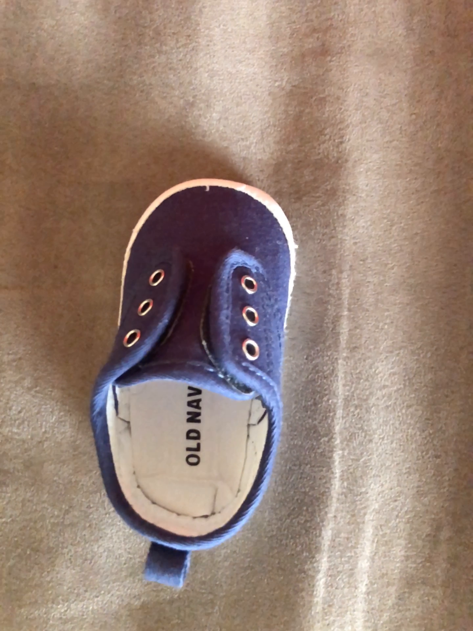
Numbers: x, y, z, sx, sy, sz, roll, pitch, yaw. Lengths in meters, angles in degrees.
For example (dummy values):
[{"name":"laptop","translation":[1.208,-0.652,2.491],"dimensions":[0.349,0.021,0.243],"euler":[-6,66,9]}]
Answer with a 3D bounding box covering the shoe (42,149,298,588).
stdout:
[{"name":"shoe","translation":[-0.016,0.013,0.169],"dimensions":[0.060,0.060,0.110],"euler":[5,93,7]}]
